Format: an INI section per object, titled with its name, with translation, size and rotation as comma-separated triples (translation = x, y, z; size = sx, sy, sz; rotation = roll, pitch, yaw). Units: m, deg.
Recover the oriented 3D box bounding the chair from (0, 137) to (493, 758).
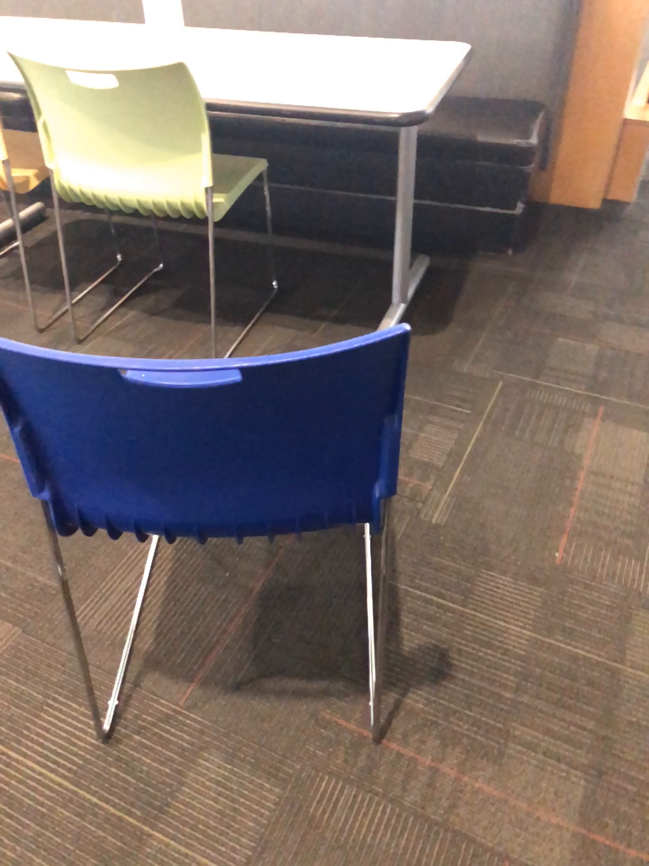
[chair]
translation = -0.131, 0.025, 1.114
size = 0.580, 0.756, 0.593
rotation = 0, 39, 1
